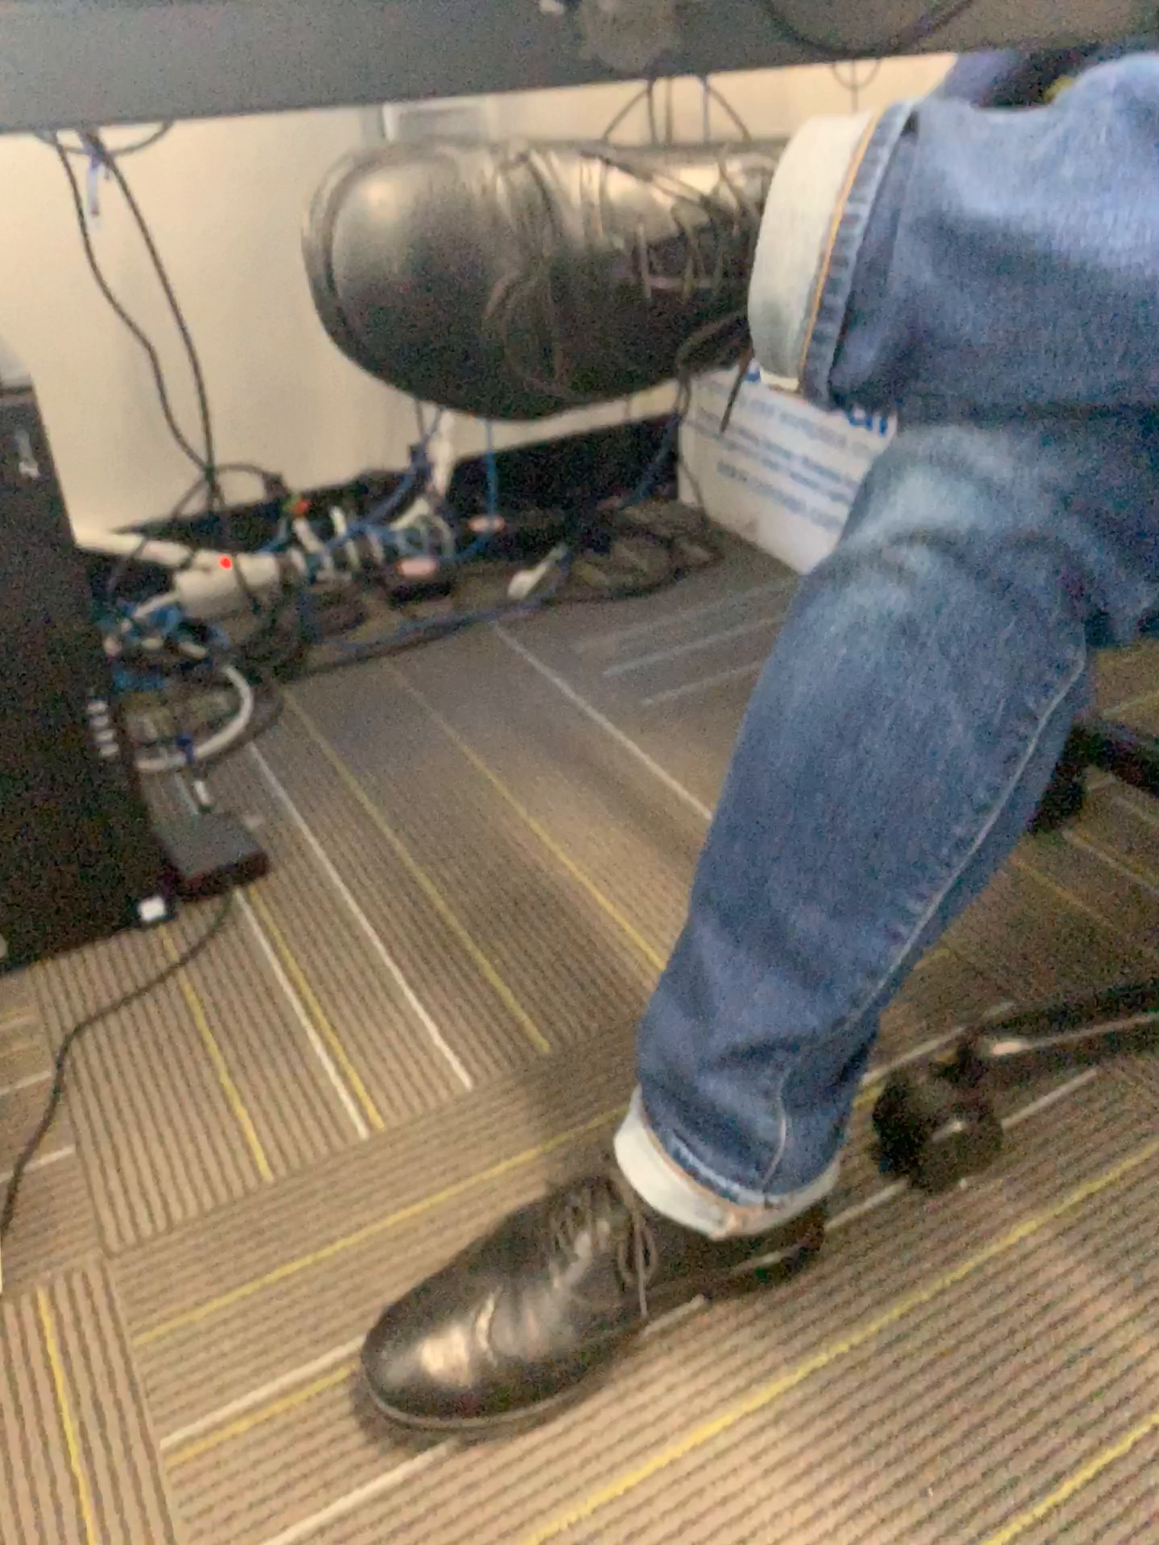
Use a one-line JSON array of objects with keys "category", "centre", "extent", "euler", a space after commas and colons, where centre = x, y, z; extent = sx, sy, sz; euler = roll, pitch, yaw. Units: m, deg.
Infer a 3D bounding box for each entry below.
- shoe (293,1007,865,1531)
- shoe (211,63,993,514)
[{"category": "shoe", "centre": [0.005, 0.251, 0.645], "extent": [0.274, 0.104, 0.112], "euler": [-20, 38, -24]}, {"category": "shoe", "centre": [0.019, -0.196, 0.461], "extent": [0.274, 0.111, 0.092], "euler": [-20, 35, -24]}]
